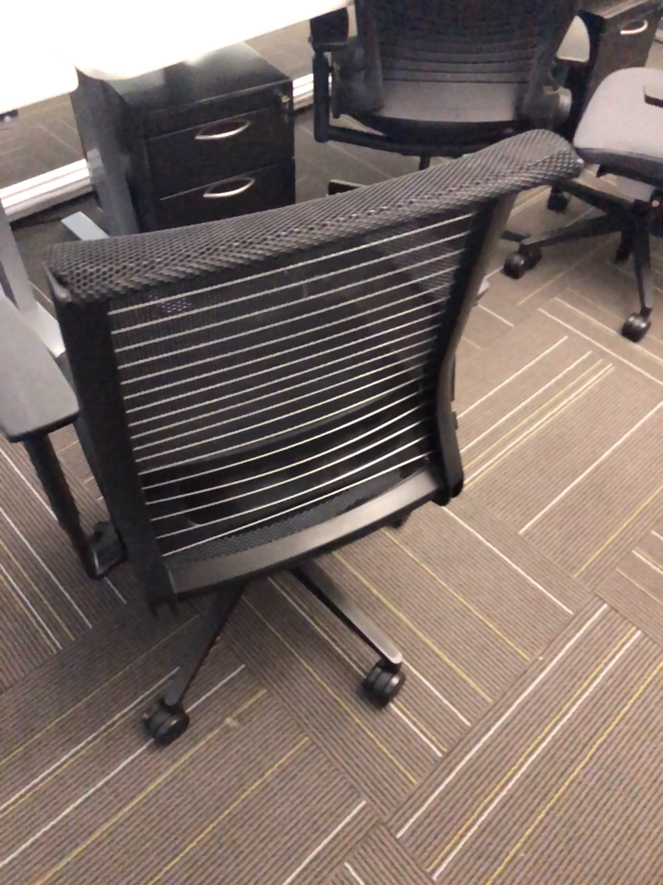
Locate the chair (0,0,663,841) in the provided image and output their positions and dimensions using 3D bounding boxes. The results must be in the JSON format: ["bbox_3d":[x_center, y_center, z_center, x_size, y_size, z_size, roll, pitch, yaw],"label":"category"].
[{"bbox_3d":[-0.098,-0.077,1.047,0.750,0.996,0.662,-22,54,-20],"label":"chair"}]
